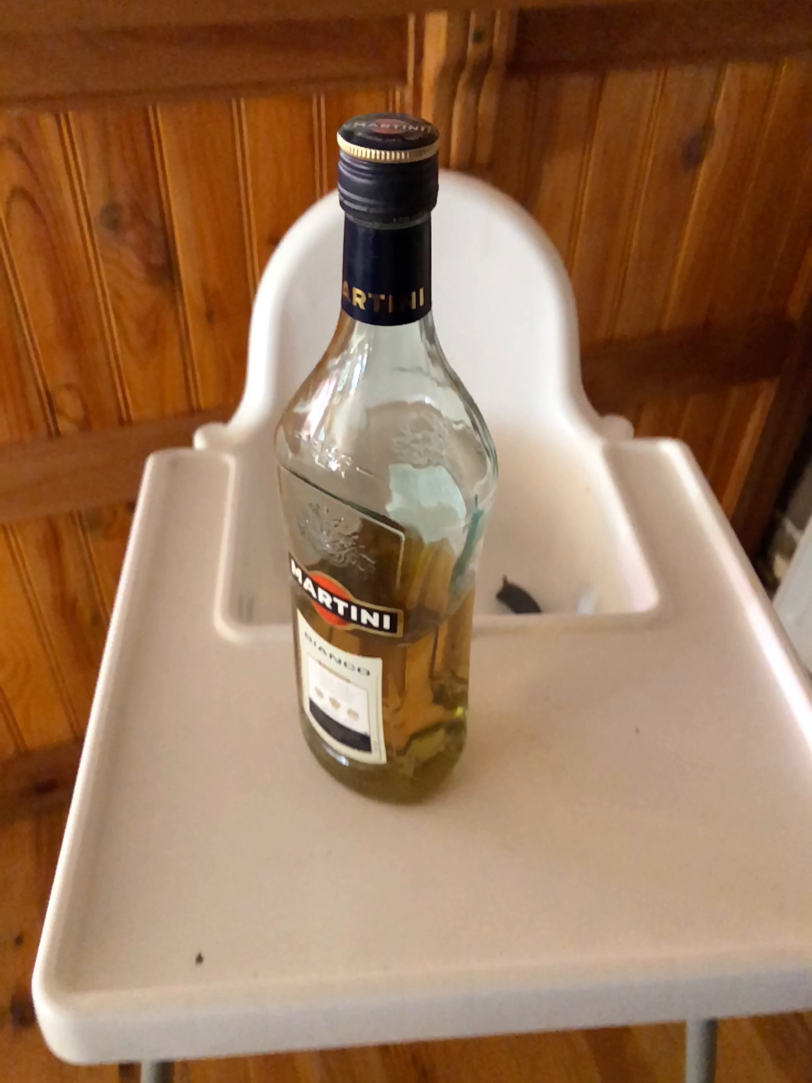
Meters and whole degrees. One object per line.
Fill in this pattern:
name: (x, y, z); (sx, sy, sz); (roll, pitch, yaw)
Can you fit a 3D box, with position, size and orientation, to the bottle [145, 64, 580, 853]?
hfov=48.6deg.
bottle: (-0.019, -0.011, 0.384); (0.110, 0.318, 0.080); (32, 50, 29)
